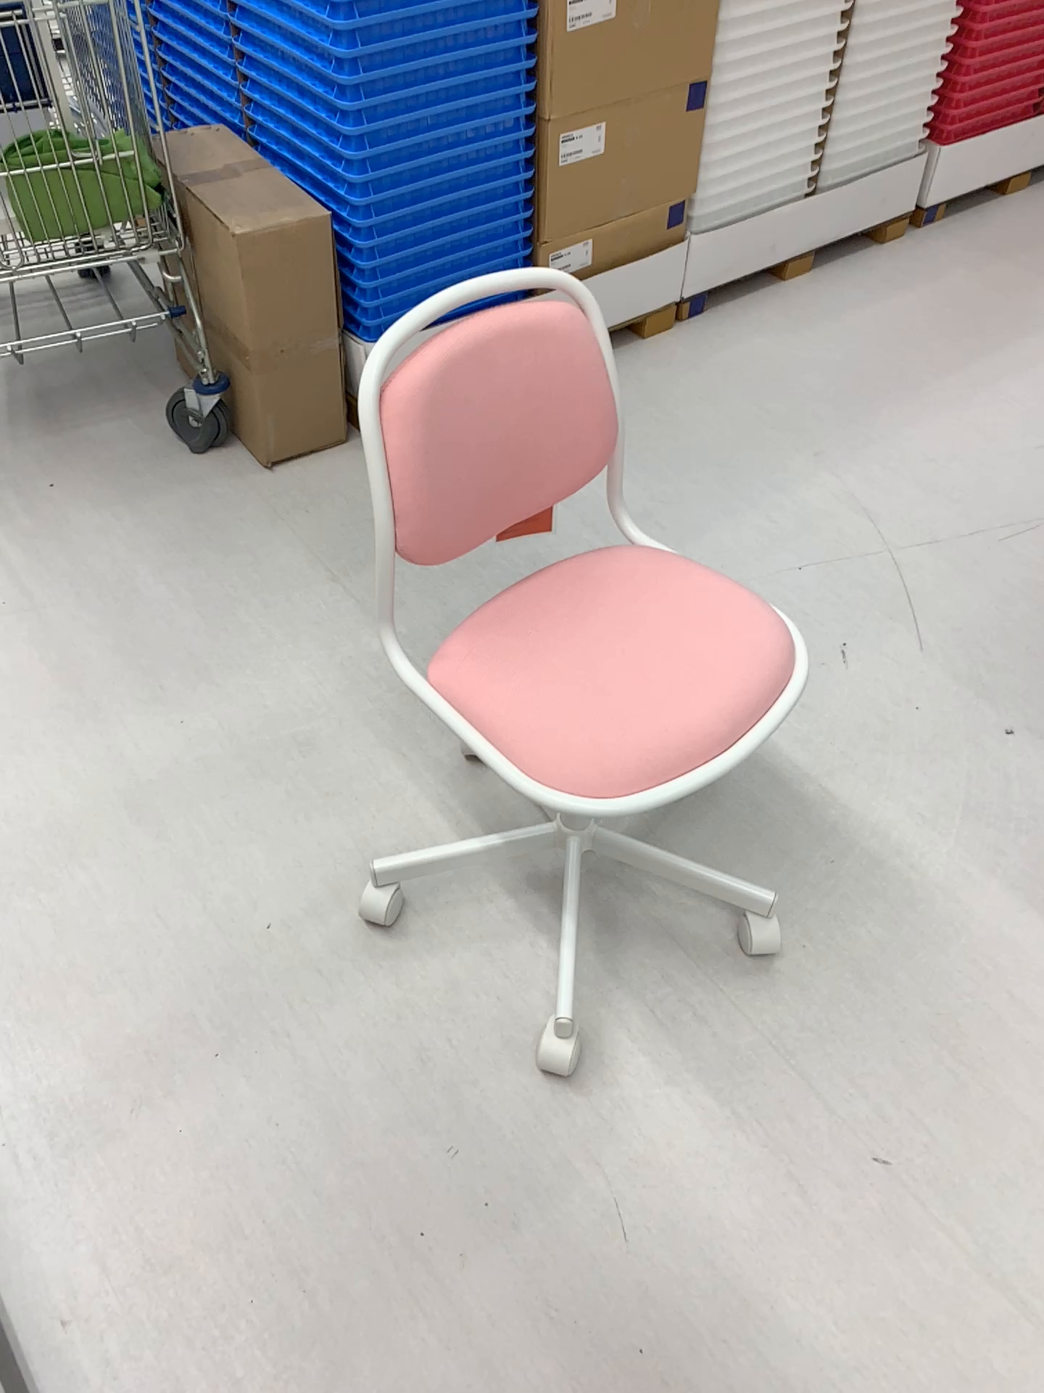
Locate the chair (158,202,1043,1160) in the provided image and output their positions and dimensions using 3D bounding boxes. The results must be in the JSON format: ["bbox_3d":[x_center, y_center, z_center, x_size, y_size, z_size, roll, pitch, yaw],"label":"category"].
[{"bbox_3d":[0.070,-0.019,1.151,0.561,0.698,0.531,-32,55,-26],"label":"chair"}]
